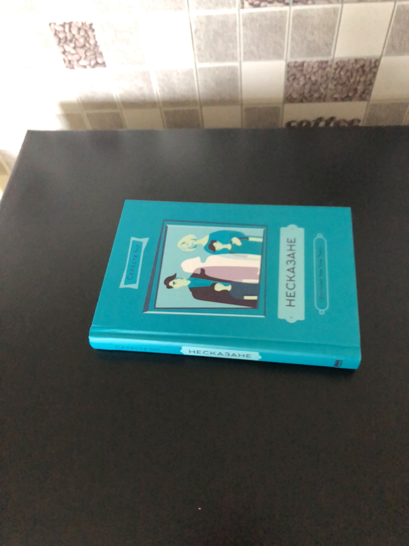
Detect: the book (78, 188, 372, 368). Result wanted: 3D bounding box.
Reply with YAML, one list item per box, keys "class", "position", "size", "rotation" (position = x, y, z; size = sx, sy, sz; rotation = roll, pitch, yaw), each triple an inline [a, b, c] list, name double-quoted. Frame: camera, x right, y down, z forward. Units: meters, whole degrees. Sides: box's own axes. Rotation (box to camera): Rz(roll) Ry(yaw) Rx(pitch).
- class: "book"
  position: [0.020, -0.004, 0.390]
  size: [0.220, 0.030, 0.152]
  rotation: [3, 59, 7]
